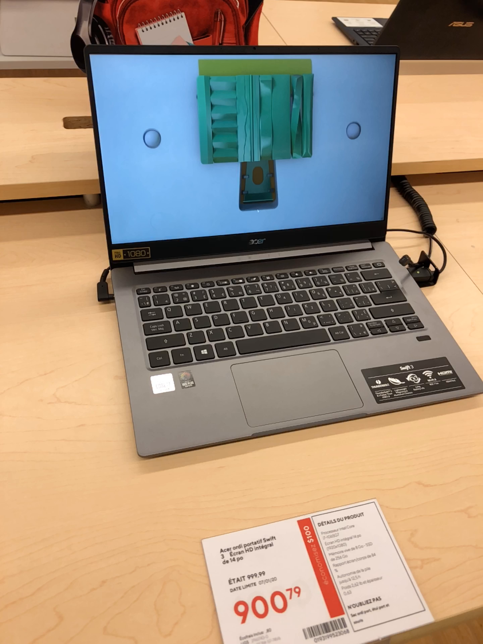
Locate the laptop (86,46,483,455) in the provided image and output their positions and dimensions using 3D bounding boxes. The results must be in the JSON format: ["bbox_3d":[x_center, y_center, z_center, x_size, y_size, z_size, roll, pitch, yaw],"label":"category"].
[{"bbox_3d":[0.043,-0.092,0.483,0.315,0.177,0.312,-7,49,-15],"label":"laptop"}]
